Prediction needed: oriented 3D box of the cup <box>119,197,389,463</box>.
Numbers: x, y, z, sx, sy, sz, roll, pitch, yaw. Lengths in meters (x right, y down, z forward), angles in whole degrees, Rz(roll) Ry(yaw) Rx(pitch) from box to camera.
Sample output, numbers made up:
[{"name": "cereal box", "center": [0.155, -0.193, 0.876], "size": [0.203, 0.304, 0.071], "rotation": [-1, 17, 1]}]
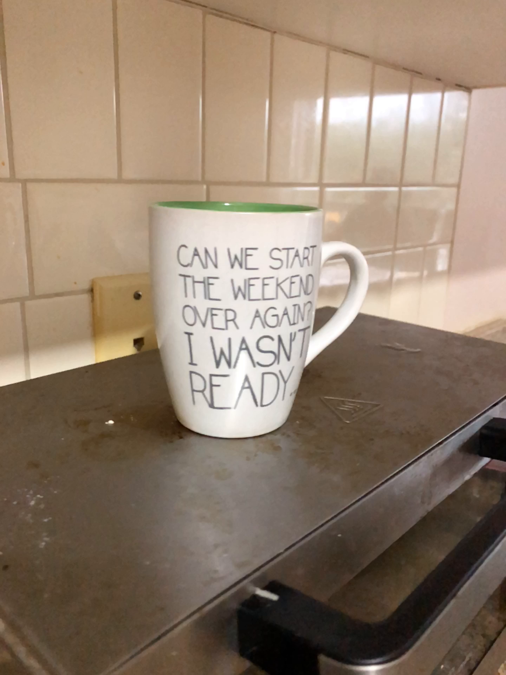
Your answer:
[{"name": "cup", "center": [-0.003, -0.012, 0.283], "size": [0.110, 0.110, 0.070], "rotation": [-5, 16, -23]}]
